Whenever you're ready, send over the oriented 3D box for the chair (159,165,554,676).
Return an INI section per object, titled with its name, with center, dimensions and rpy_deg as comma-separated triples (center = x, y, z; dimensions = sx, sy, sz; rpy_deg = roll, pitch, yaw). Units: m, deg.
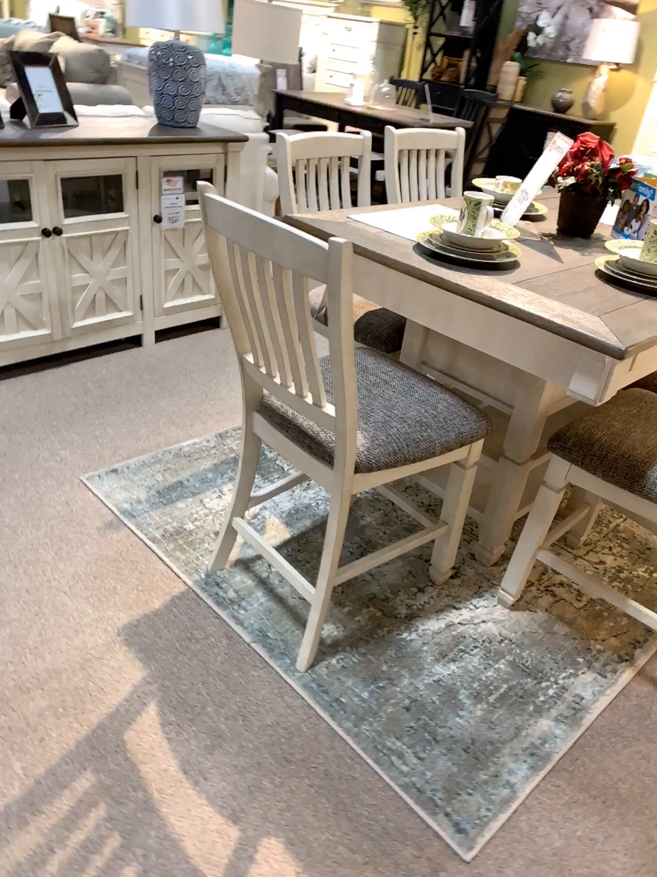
[chair]
center = 0.007, -0.074, 1.523
dimensions = 0.591, 0.925, 0.492
rpy_deg = -19, 41, -37
